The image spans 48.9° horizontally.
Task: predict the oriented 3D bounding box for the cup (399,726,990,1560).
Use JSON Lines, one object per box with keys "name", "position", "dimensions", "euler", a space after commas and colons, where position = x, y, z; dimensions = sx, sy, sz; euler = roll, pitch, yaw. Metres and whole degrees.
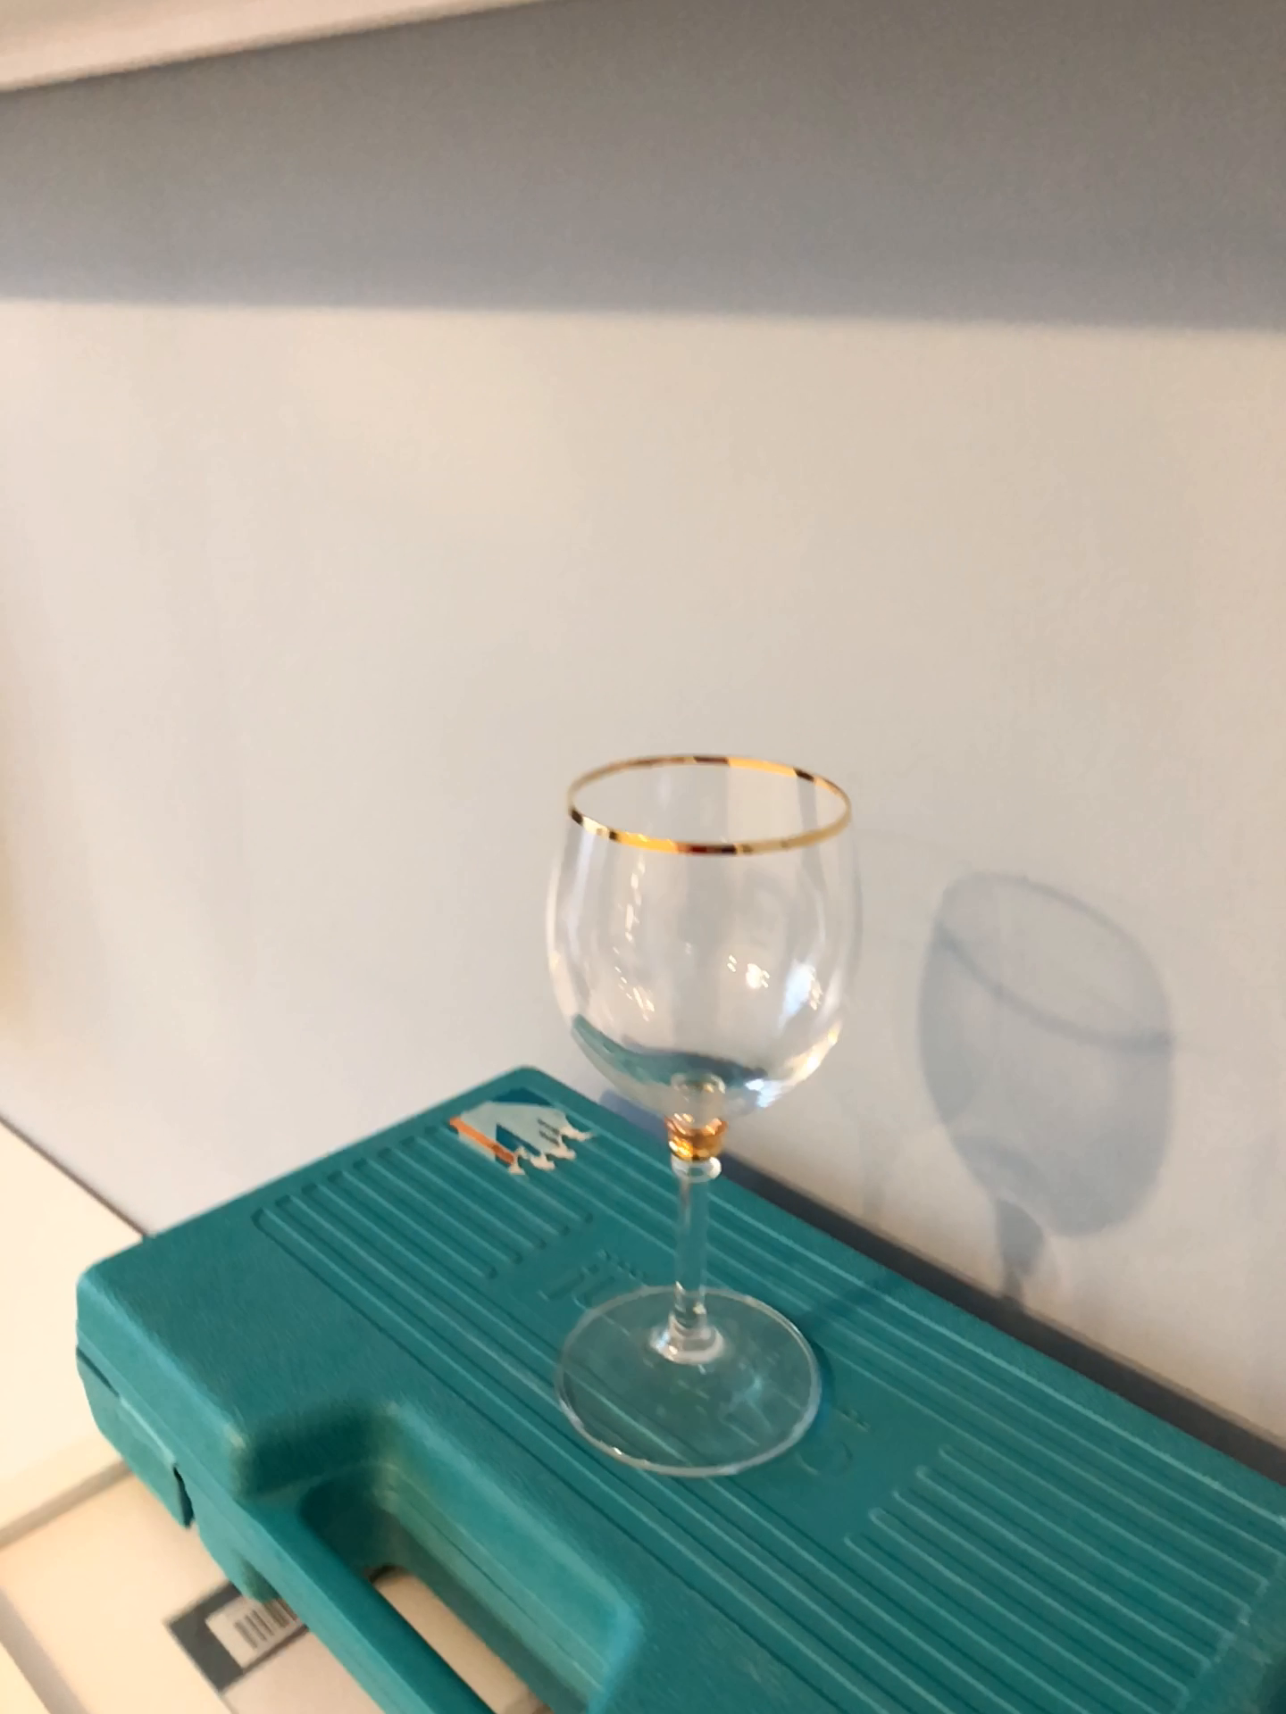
{"name": "cup", "position": [0.012, 0.063, 0.366], "dimensions": [0.100, 0.159, 0.100], "euler": [0, 21, 0]}
